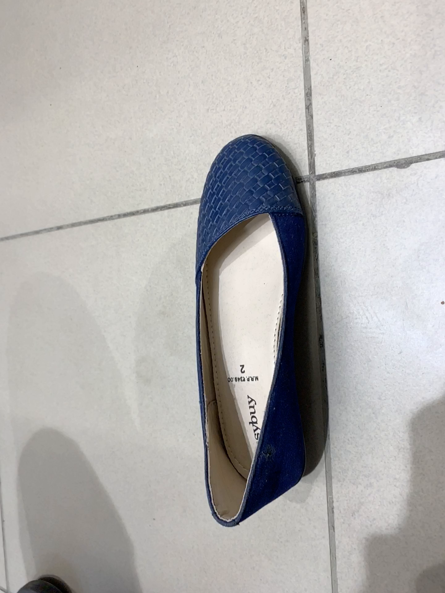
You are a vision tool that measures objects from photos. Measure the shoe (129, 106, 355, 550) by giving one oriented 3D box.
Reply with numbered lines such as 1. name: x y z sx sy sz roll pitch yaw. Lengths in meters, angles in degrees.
1. shoe: 0.010 0.018 0.277 0.091 0.060 0.220 -9 88 36
